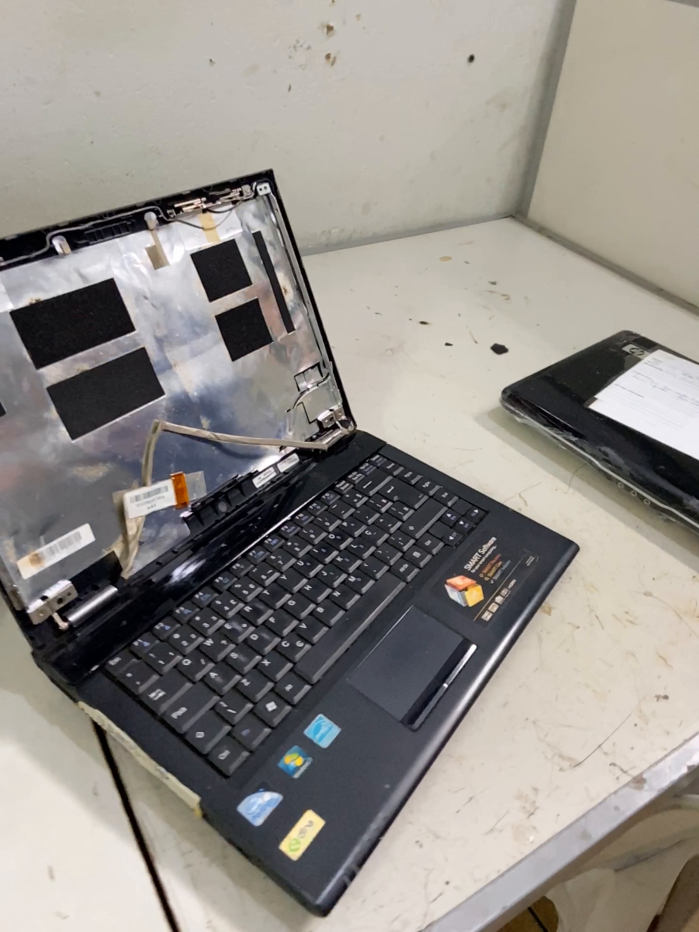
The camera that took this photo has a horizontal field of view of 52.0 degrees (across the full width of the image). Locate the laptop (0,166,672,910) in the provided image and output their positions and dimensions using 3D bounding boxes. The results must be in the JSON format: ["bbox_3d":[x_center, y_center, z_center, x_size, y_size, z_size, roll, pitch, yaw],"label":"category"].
[{"bbox_3d":[-0.038,-0.013,0.471,0.335,0.205,0.334,29,44,25],"label":"laptop"}]
